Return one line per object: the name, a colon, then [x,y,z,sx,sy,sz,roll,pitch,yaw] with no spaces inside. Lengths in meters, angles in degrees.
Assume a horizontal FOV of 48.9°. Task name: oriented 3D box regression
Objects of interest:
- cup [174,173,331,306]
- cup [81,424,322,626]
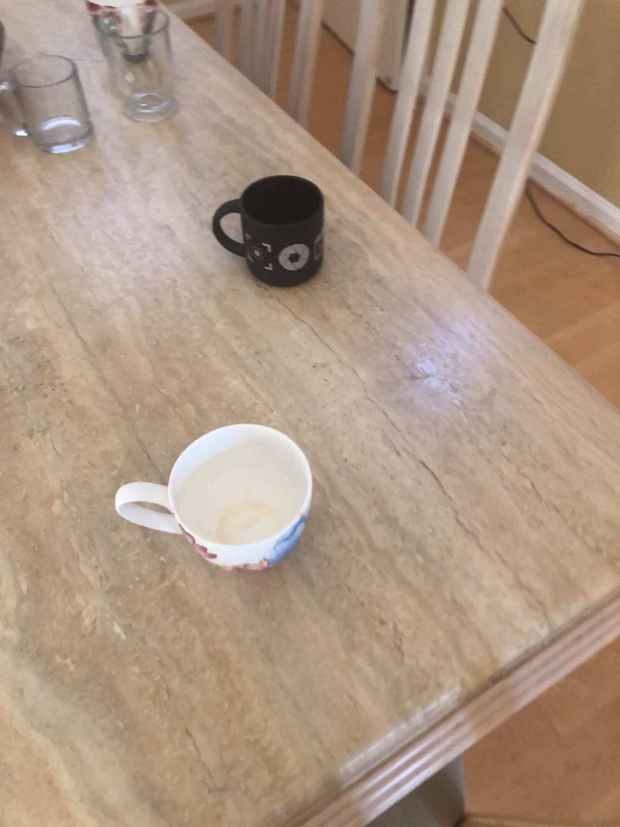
cup: [-0.058,-0.194,0.760,0.150,0.089,0.101,6,53,5]
cup: [-0.076,0.085,0.524,0.160,0.089,0.111,-5,53,-3]
